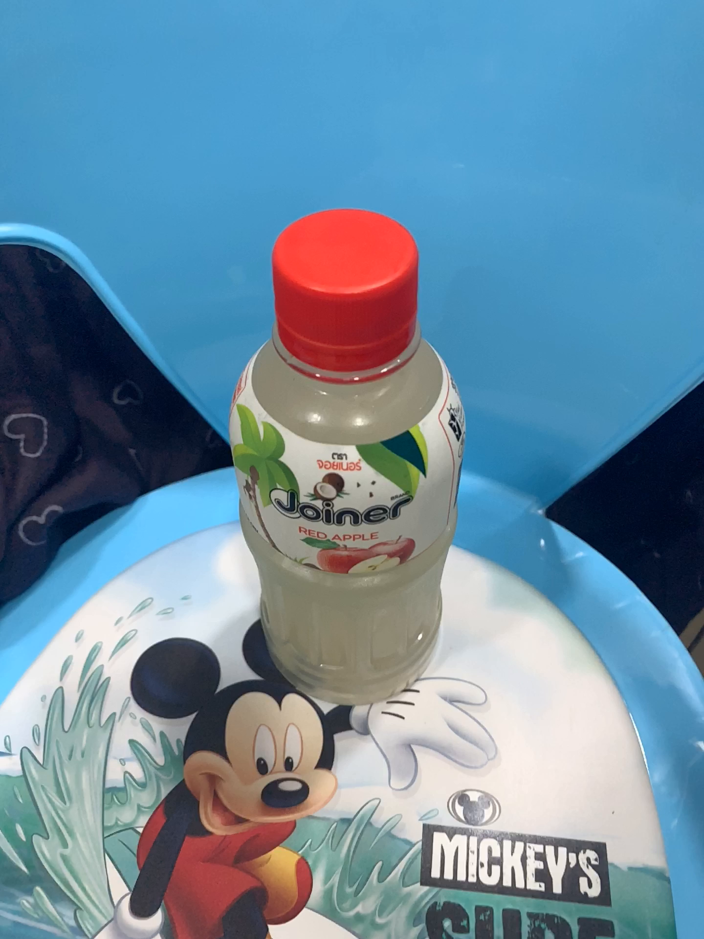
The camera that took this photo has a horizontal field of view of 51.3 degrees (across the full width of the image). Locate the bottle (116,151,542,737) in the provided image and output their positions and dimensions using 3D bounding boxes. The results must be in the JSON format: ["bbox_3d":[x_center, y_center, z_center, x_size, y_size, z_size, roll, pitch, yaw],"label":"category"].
[{"bbox_3d":[0.001,0.005,0.193,0.070,0.150,0.060,6,47,7],"label":"bottle"}]
